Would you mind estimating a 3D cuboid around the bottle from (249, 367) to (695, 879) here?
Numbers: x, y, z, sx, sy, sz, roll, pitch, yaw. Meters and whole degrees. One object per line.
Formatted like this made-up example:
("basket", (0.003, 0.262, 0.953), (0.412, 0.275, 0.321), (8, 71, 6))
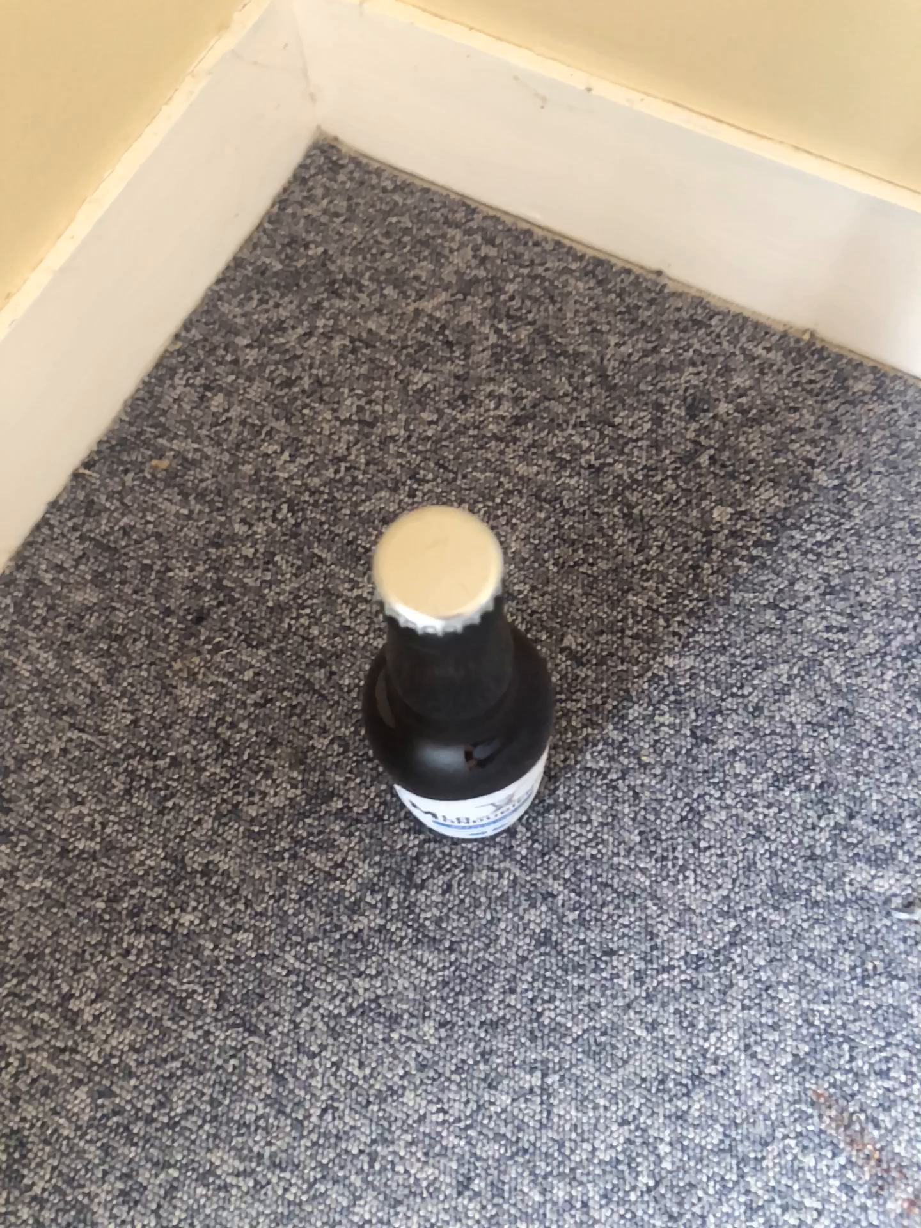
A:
("bottle", (0.004, 0.024, 0.302), (0.070, 0.210, 0.070), (-1, 71, 2))
